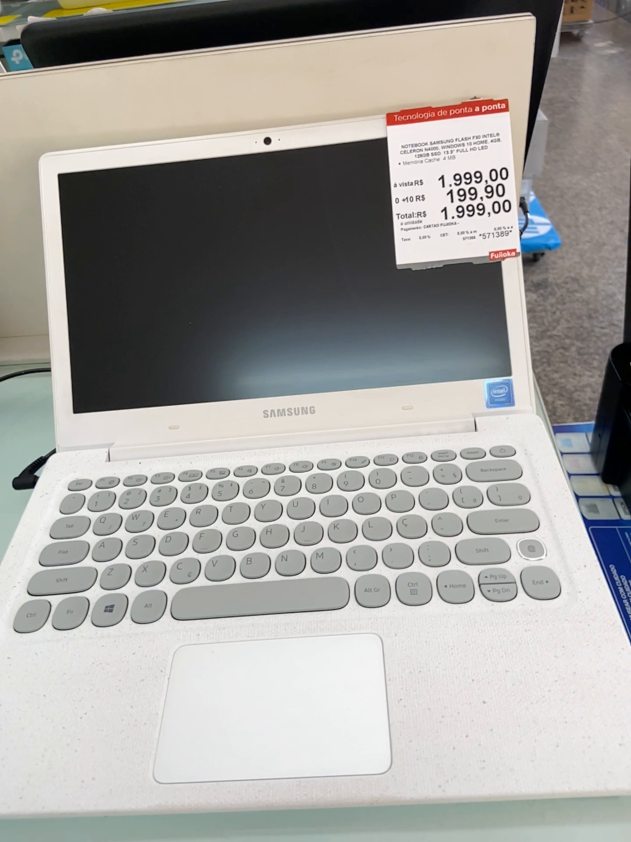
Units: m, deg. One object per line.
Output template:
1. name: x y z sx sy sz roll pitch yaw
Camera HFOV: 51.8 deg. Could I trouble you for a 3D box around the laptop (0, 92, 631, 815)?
1. laptop: -0.026 -0.025 0.347 0.314 0.140 0.362 -5 42 4
